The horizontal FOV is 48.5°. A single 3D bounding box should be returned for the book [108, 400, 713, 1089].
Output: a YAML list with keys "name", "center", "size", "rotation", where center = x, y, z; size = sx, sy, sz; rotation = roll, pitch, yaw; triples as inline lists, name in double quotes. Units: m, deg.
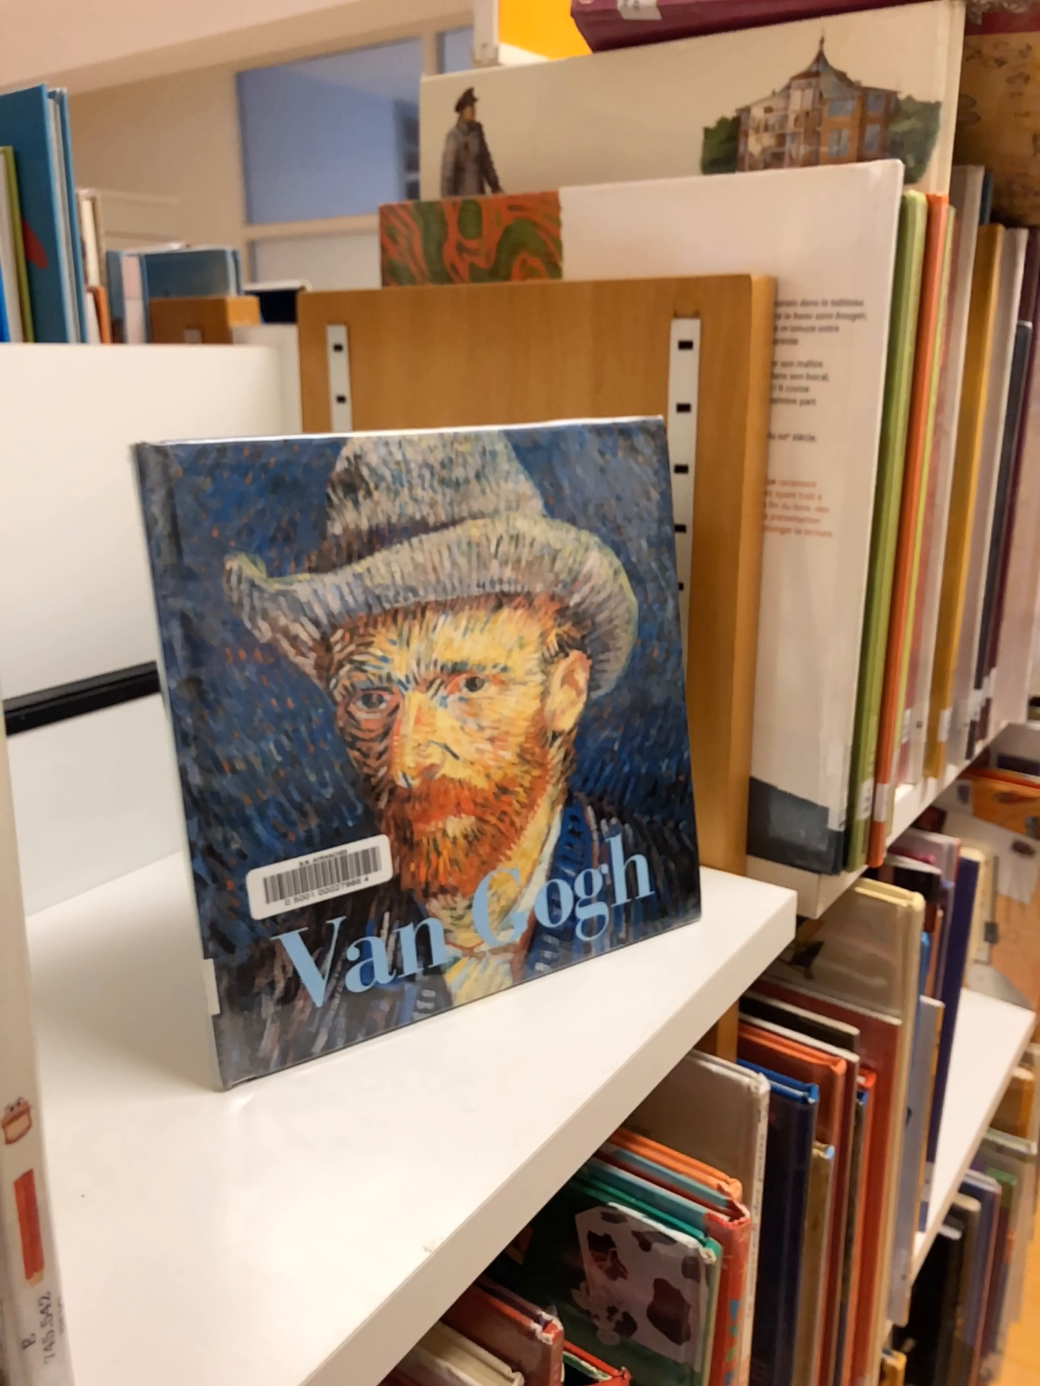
- name: "book"
  center: [-0.021, 0.005, 0.393]
  size: [0.201, 0.198, 0.013]
  rotation: [-11, 9, -32]
